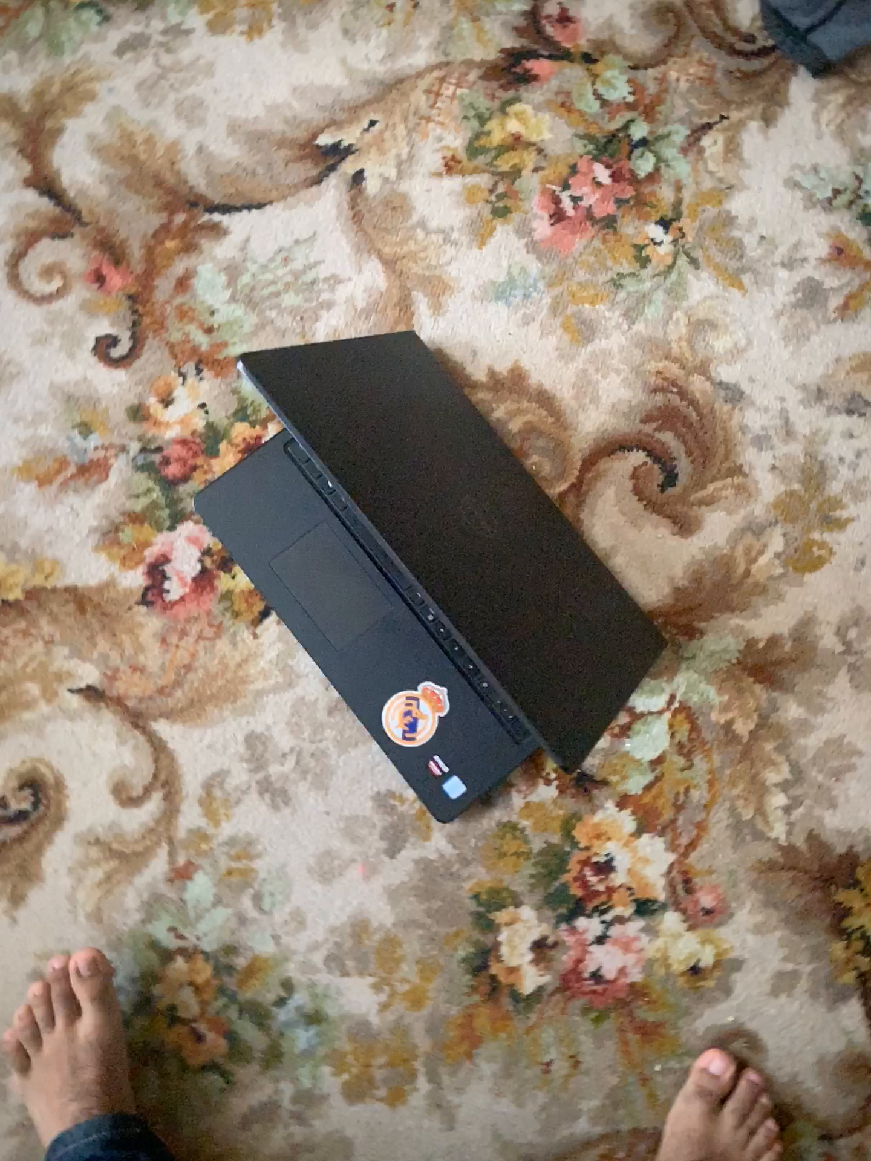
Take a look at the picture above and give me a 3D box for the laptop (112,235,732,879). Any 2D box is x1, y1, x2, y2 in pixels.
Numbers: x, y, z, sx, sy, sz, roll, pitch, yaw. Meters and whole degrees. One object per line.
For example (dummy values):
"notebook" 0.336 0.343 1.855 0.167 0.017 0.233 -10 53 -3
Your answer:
"laptop" -0.009 -0.016 0.705 0.251 0.194 0.366 -39 87 -5
